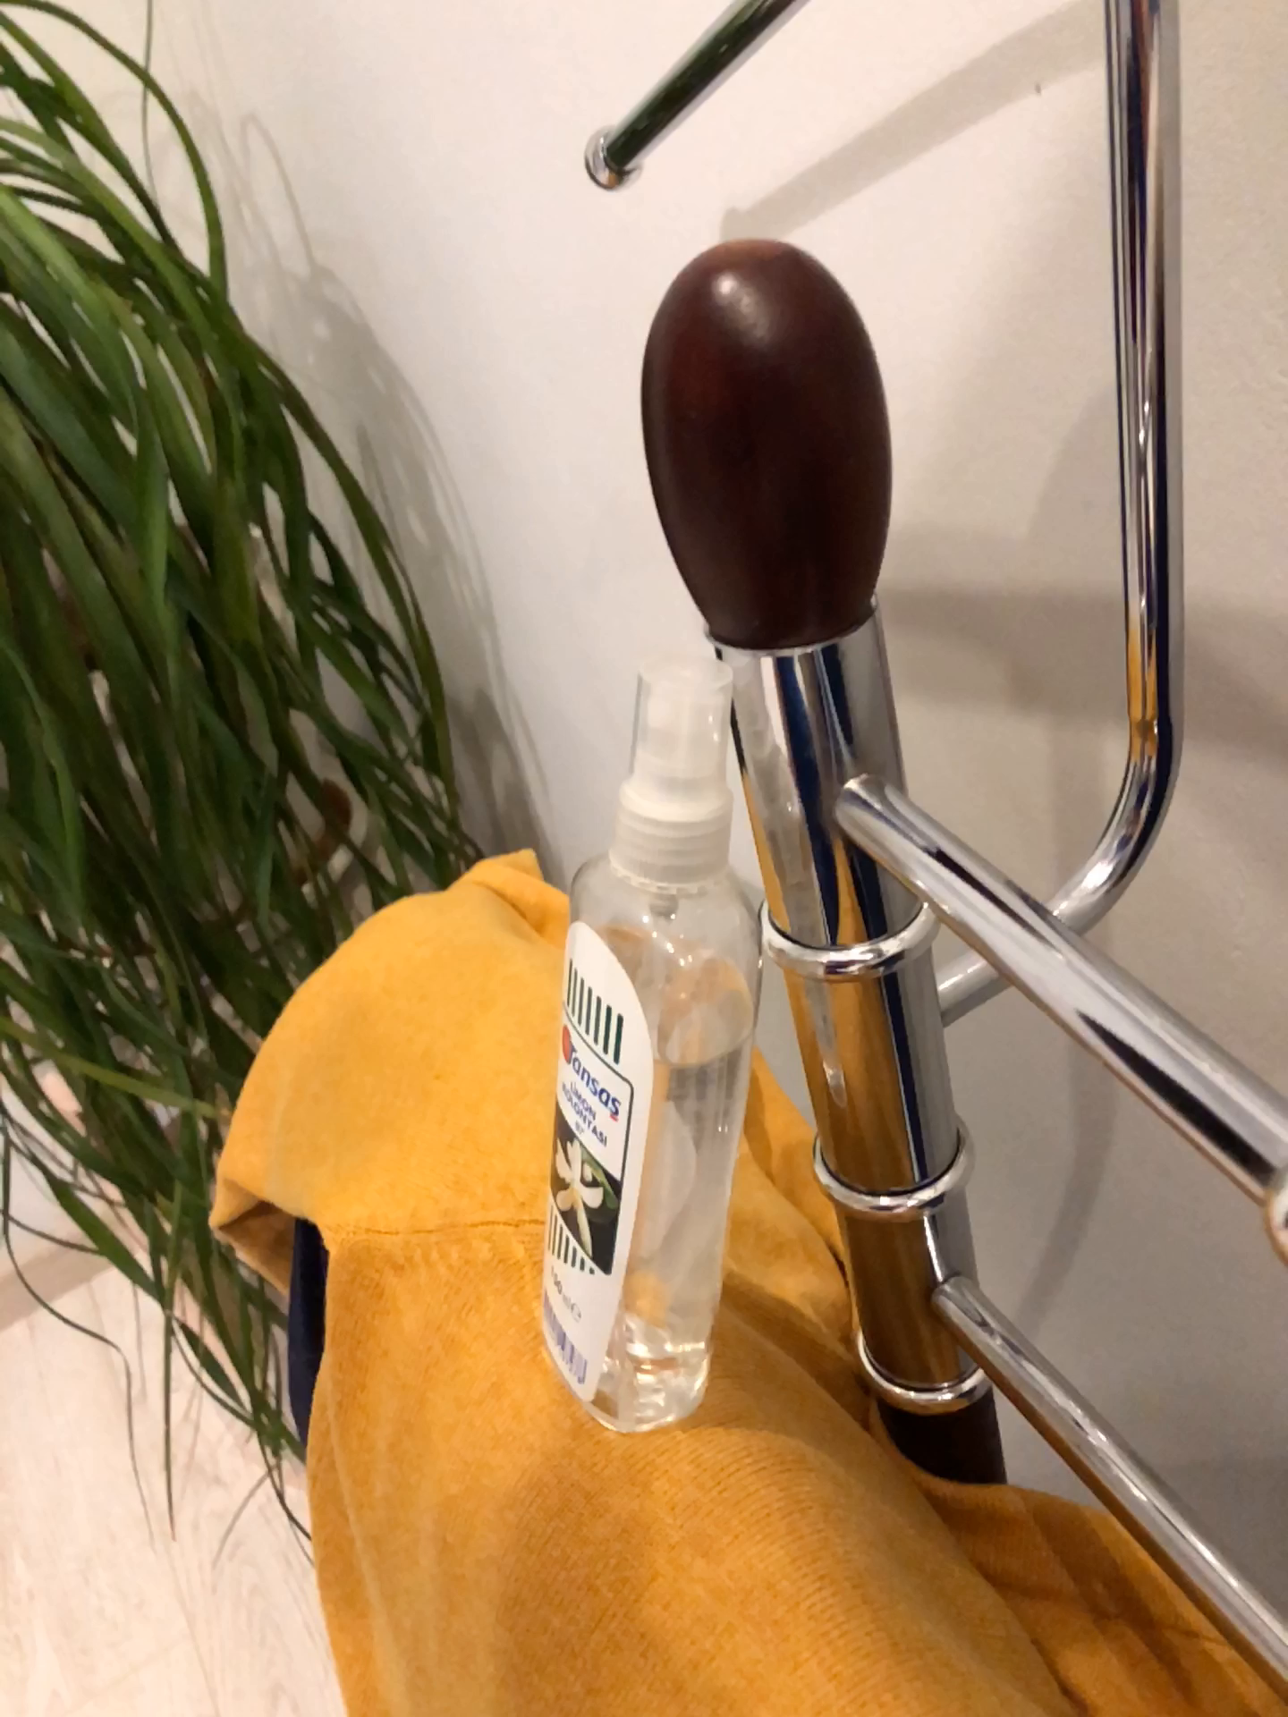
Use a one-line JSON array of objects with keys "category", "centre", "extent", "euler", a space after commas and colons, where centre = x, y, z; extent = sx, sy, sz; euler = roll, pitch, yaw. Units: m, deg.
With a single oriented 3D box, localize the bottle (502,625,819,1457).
[{"category": "bottle", "centre": [-0.002, 0.038, 0.283], "extent": [0.030, 0.157, 0.051], "euler": [-5, 27, -23]}]
